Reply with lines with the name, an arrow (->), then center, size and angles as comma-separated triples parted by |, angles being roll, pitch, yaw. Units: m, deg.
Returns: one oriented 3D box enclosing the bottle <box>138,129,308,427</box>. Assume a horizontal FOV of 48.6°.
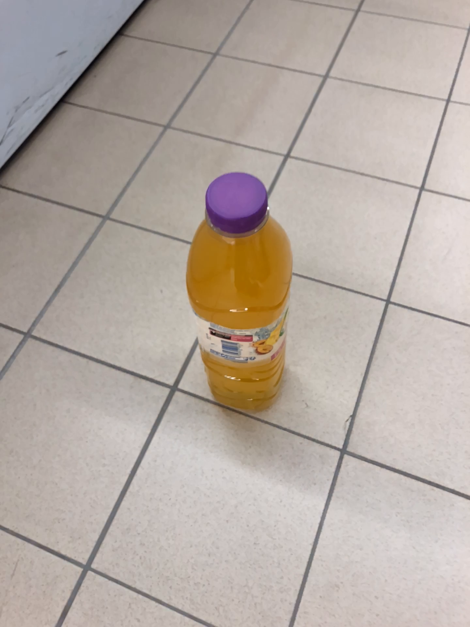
bottle -> 0.003, -0.004, 0.464 | 0.090, 0.299, 0.101 | 9, 60, 9
